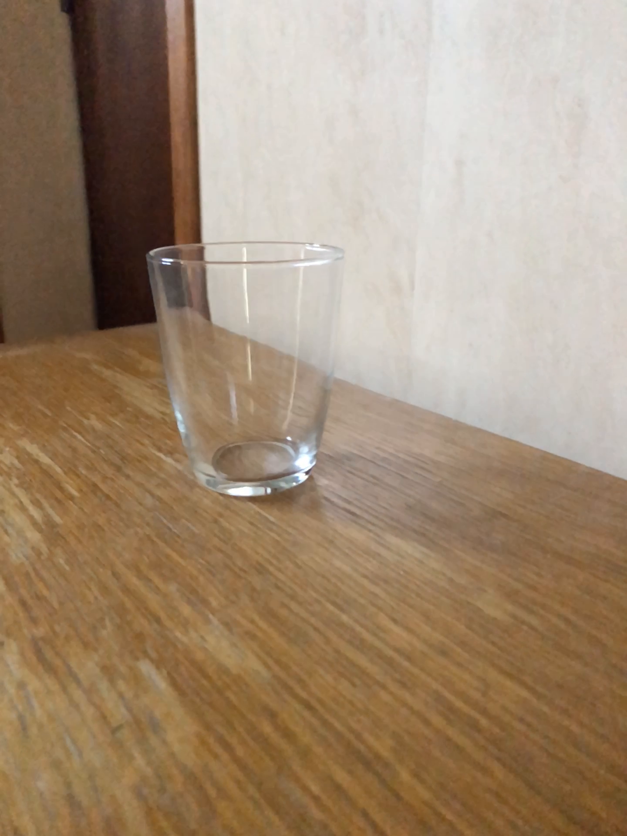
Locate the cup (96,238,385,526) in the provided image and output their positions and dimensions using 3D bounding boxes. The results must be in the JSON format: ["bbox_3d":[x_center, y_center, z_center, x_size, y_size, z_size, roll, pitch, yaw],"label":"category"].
[{"bbox_3d":[-0.023,-0.020,0.250,0.070,0.080,0.070,1,18,0],"label":"cup"}]
